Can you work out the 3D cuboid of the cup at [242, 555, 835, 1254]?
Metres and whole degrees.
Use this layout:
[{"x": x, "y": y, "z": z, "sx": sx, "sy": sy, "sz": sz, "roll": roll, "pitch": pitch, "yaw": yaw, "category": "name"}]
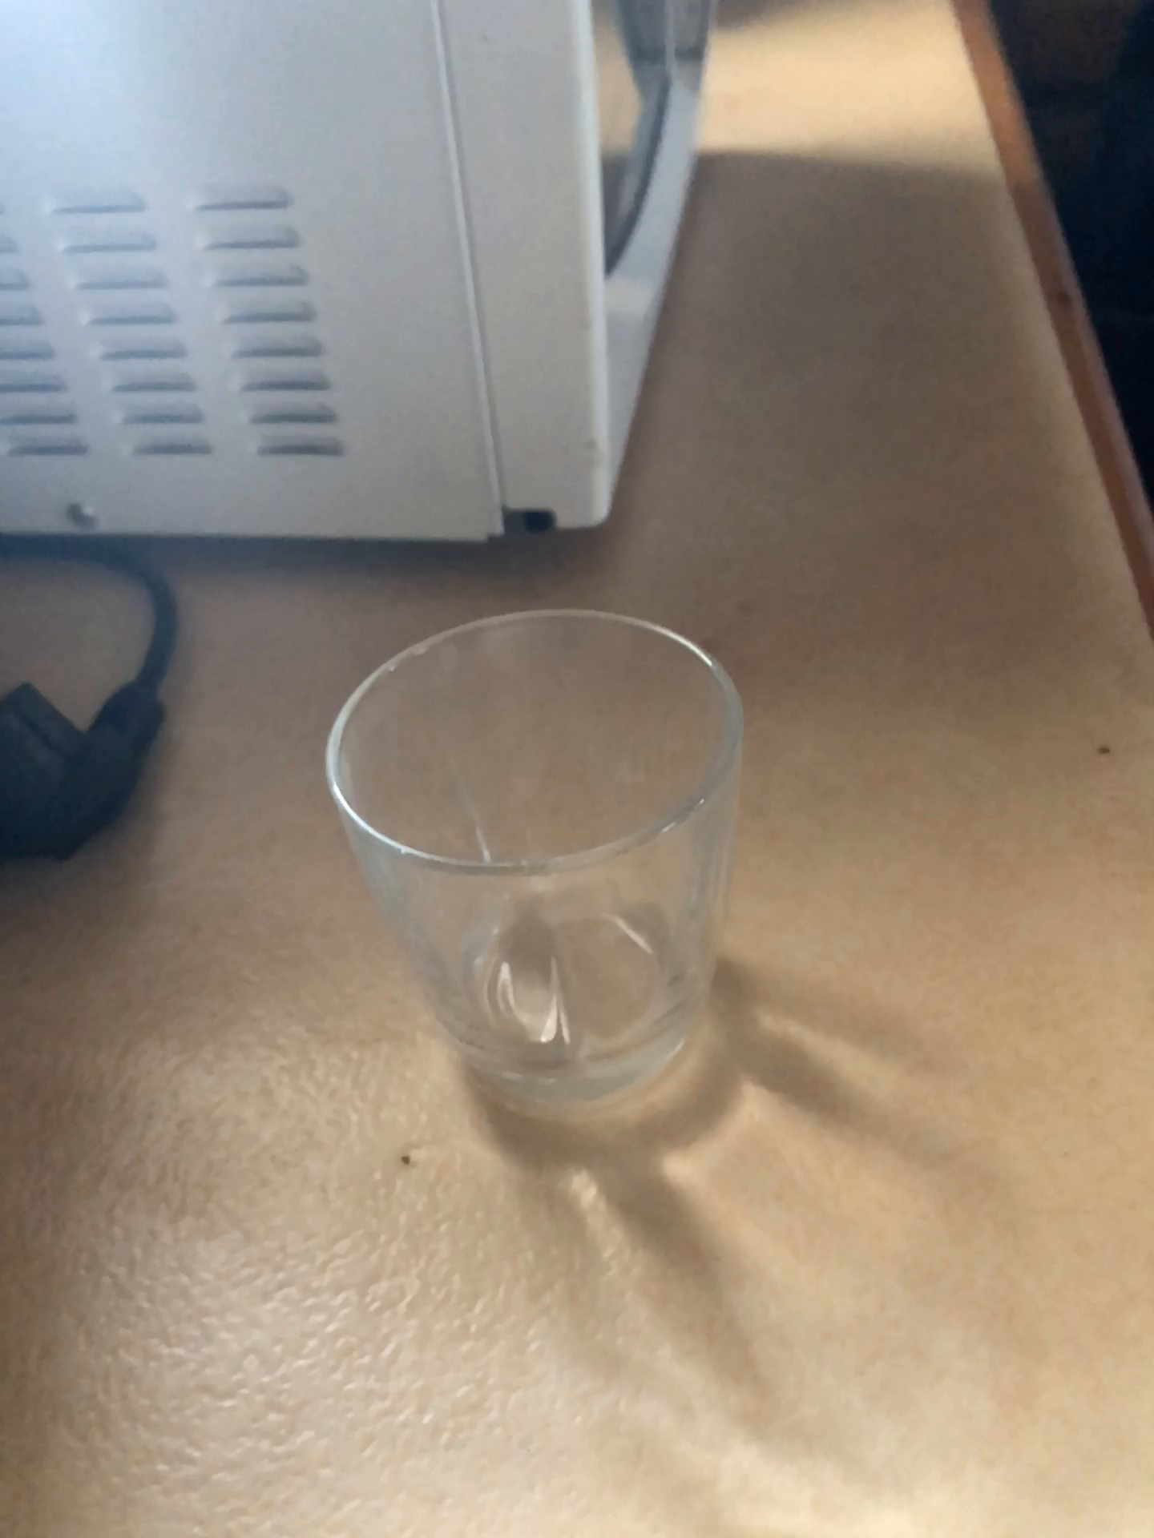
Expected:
[{"x": -0.005, "y": 0.021, "z": 0.236, "sx": 0.070, "sy": 0.080, "sz": 0.070, "roll": -4, "pitch": 39, "yaw": 3, "category": "cup"}]
